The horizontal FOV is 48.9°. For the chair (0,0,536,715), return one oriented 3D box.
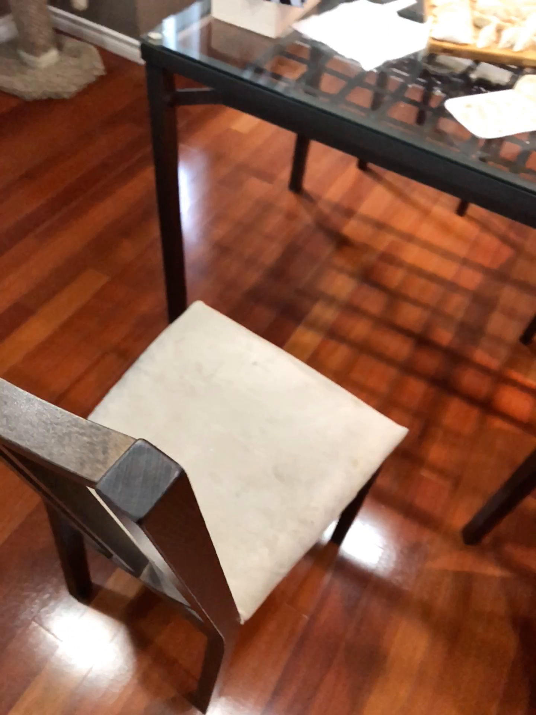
[{"bbox_3d":[-0.076,0.143,0.849,0.491,1.054,0.512,32,56,18],"label":"chair"}]
